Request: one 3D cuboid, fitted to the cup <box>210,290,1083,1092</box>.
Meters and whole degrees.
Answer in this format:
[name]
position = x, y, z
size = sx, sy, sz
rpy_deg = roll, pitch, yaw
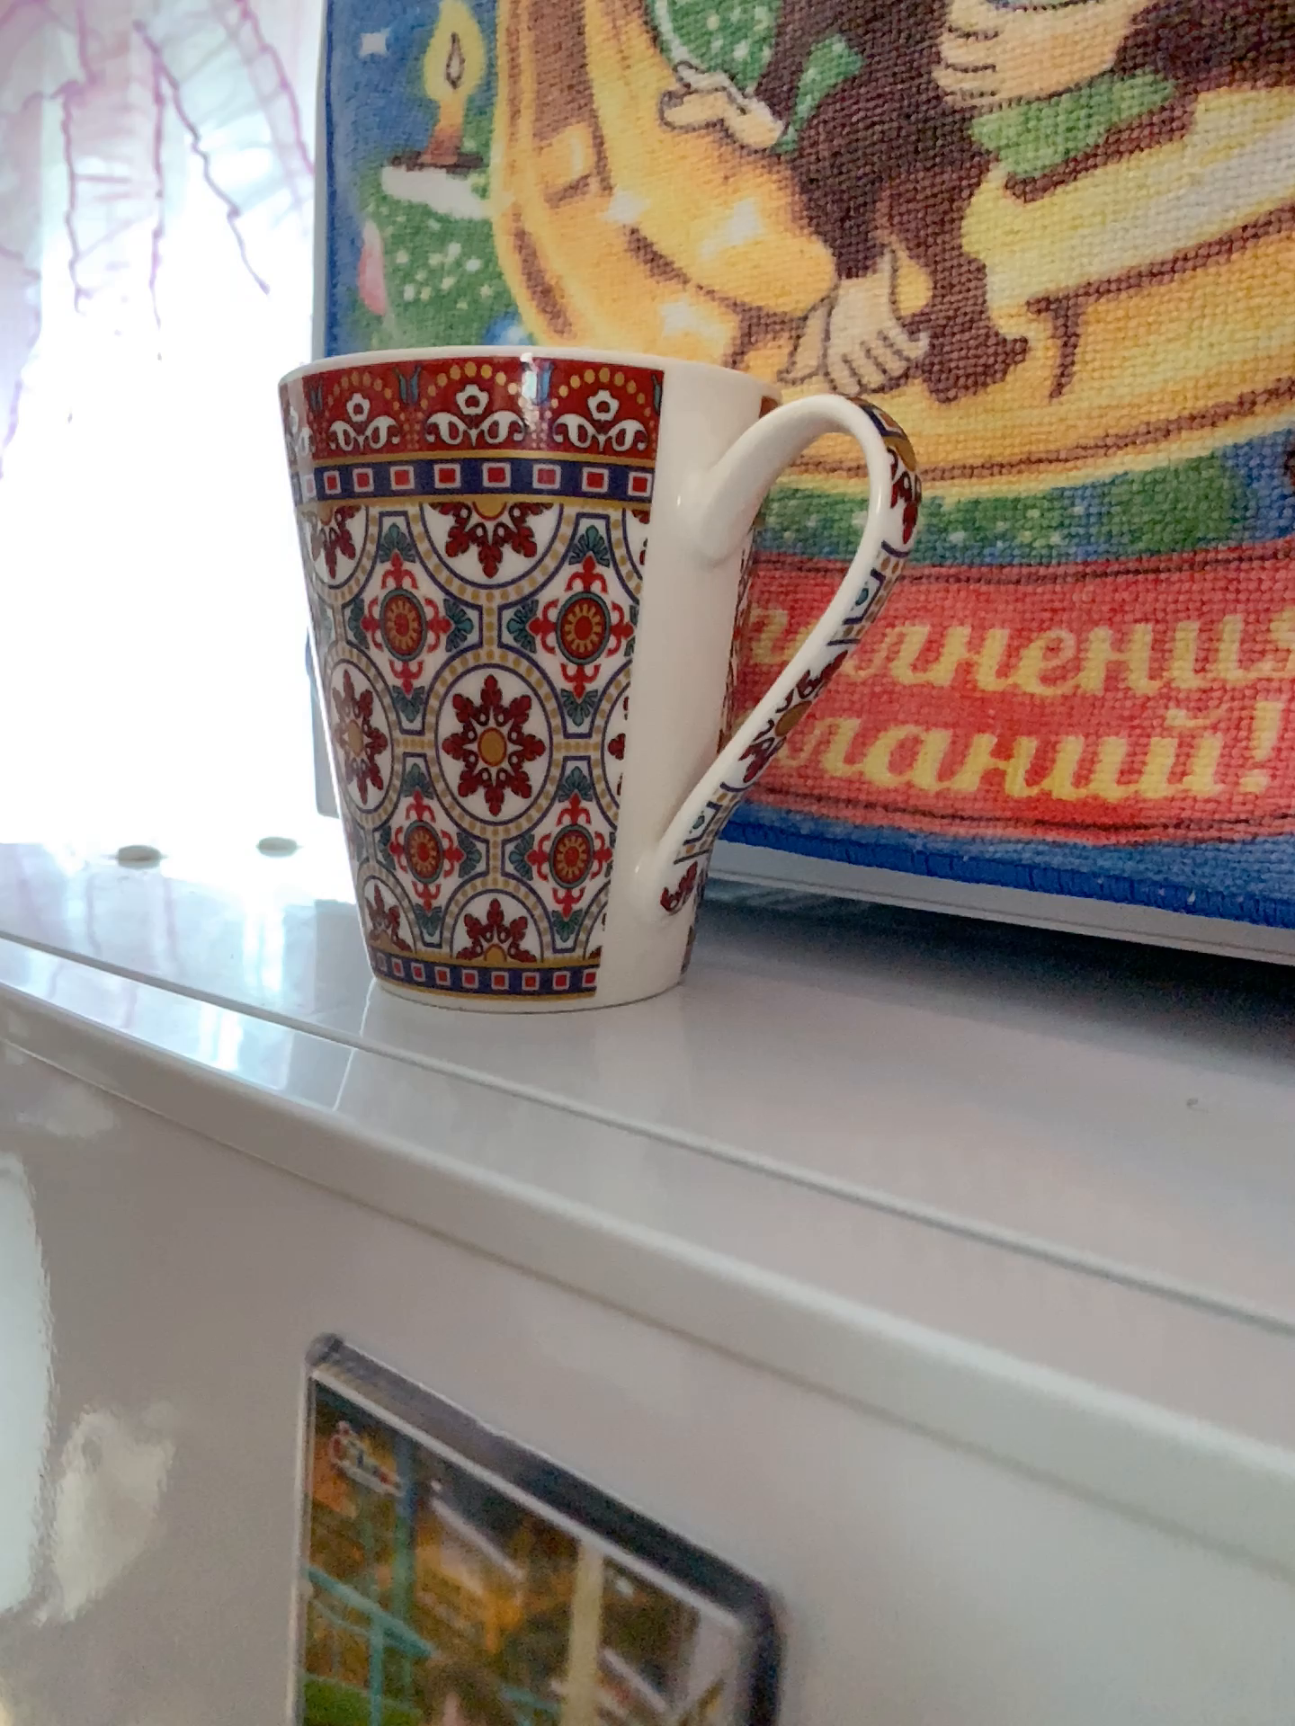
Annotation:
[cup]
position = 0.000, -0.031, 0.242
size = 0.124, 0.101, 0.089
rpy_deg = 7, 9, 31
